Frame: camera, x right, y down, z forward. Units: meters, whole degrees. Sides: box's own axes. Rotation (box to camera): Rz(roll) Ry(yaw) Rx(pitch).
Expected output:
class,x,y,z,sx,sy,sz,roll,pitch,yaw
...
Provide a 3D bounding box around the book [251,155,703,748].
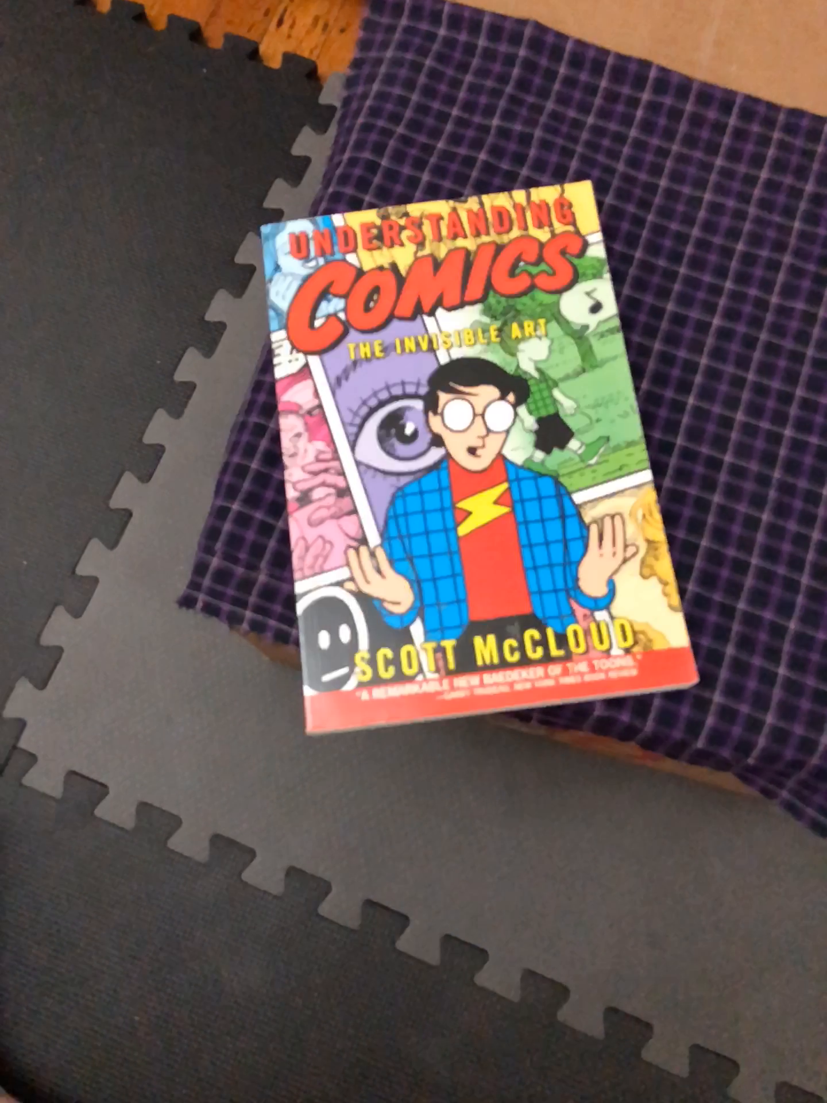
class,x,y,z,sx,sy,sz,roll,pitch,yaw
book,0.020,-0.056,0.422,0.170,0.020,0.270,-7,74,0
